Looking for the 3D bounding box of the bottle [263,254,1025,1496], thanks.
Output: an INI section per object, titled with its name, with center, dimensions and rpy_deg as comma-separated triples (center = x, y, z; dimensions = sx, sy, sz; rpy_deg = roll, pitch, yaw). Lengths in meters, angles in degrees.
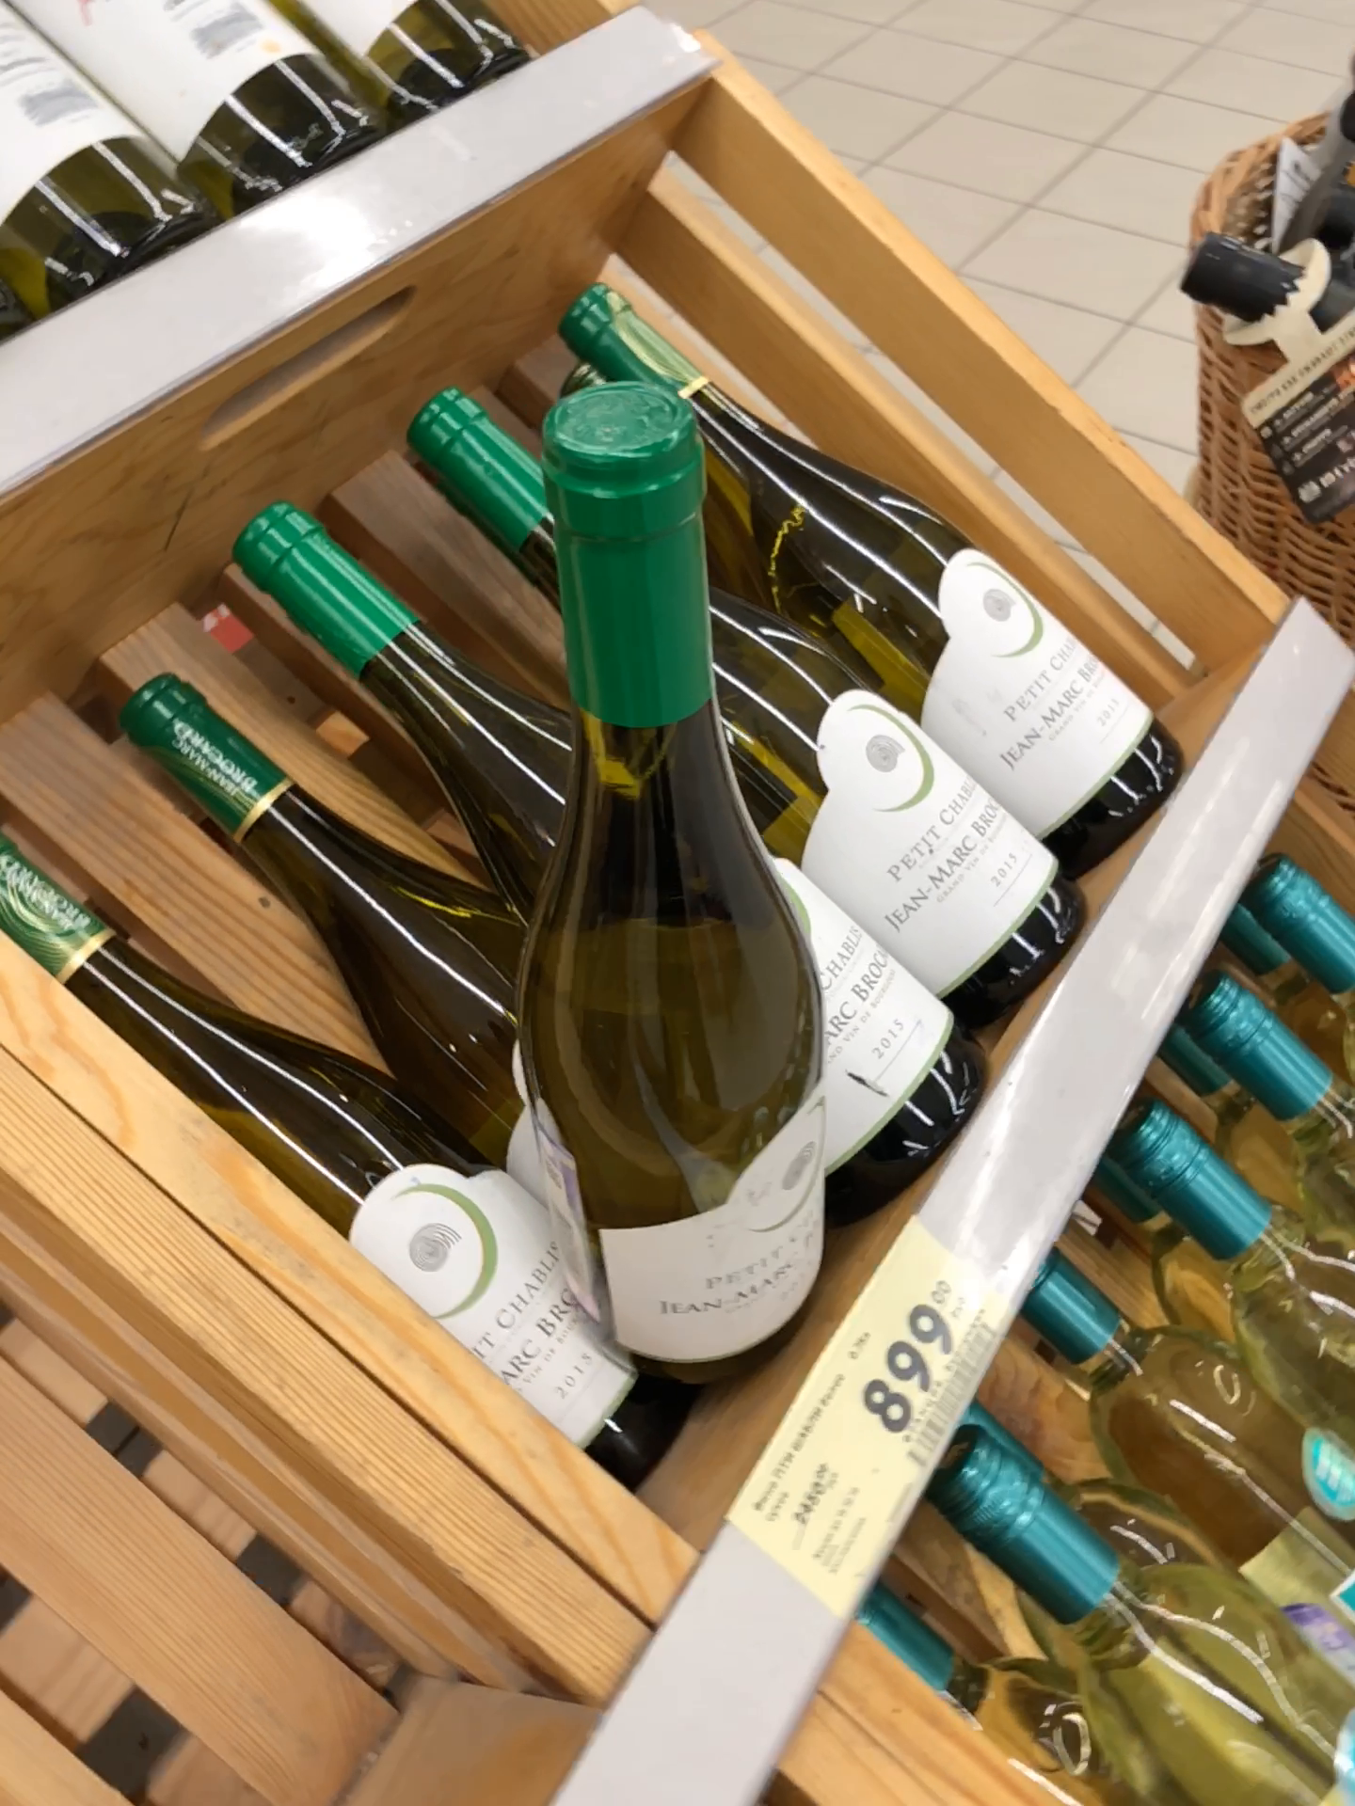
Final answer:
[bottle]
center = 0.000, 0.019, 0.352
dimensions = 0.090, 0.289, 0.090
rpy_deg = -1, 46, 1
